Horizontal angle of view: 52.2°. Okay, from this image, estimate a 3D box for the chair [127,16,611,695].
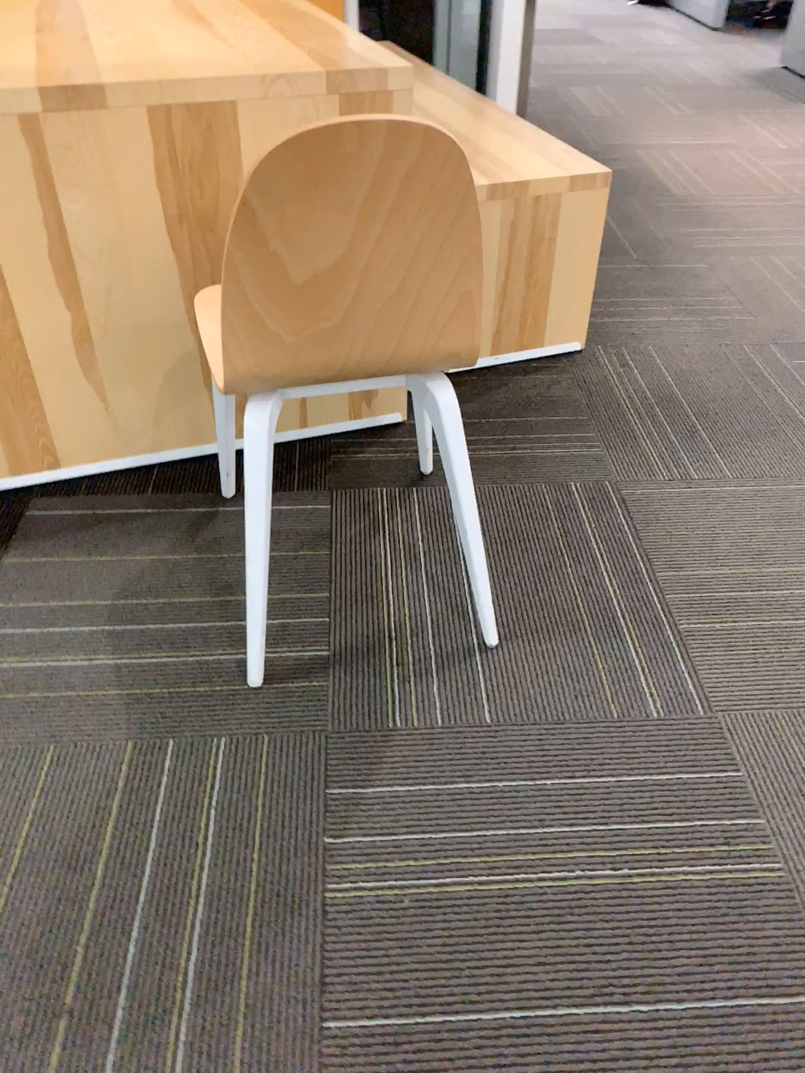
[{"bbox_3d":[-0.092,-0.282,1.273,0.480,0.805,0.584,-8,41,-11],"label":"chair"}]
